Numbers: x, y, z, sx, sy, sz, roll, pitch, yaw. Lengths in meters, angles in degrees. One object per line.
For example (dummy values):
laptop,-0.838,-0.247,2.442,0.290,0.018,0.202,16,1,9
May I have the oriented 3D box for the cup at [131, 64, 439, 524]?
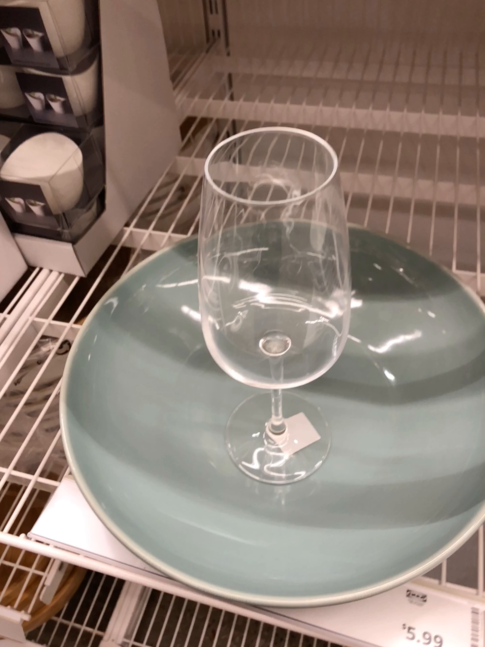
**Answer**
cup,0.027,0.004,0.352,0.100,0.279,0.100,-2,47,3
